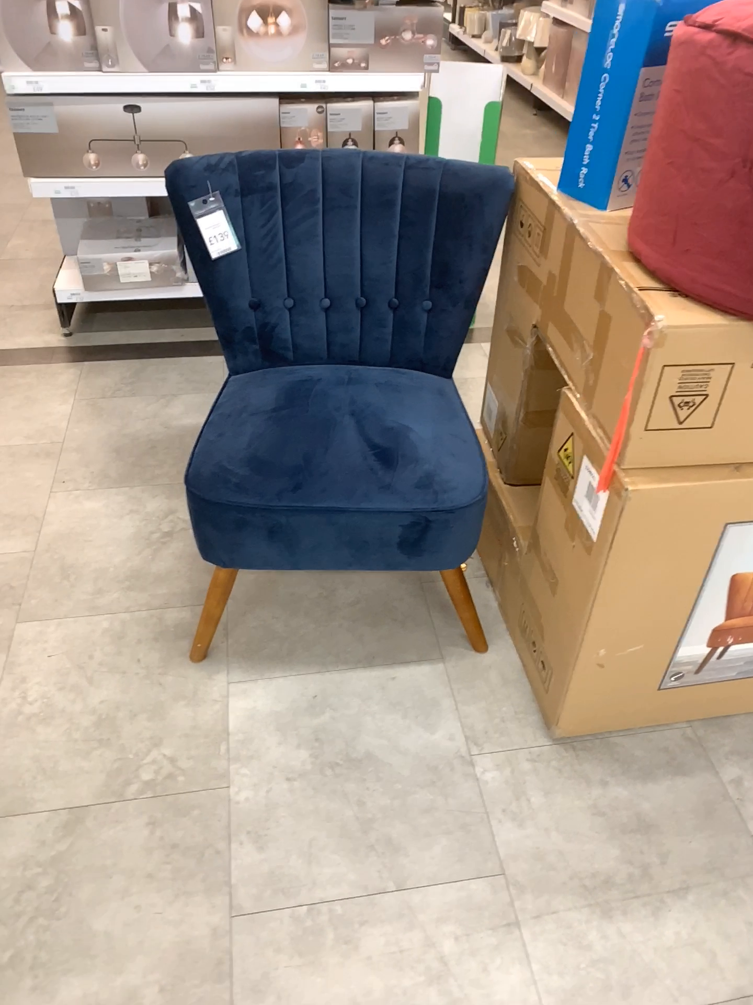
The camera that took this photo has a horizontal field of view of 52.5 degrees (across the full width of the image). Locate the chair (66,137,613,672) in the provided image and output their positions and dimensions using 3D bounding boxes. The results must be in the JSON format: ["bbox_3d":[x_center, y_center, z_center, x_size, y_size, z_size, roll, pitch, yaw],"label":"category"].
[{"bbox_3d":[-0.073,-0.211,1.549,0.729,0.789,0.733,-1,39,-3],"label":"chair"}]
